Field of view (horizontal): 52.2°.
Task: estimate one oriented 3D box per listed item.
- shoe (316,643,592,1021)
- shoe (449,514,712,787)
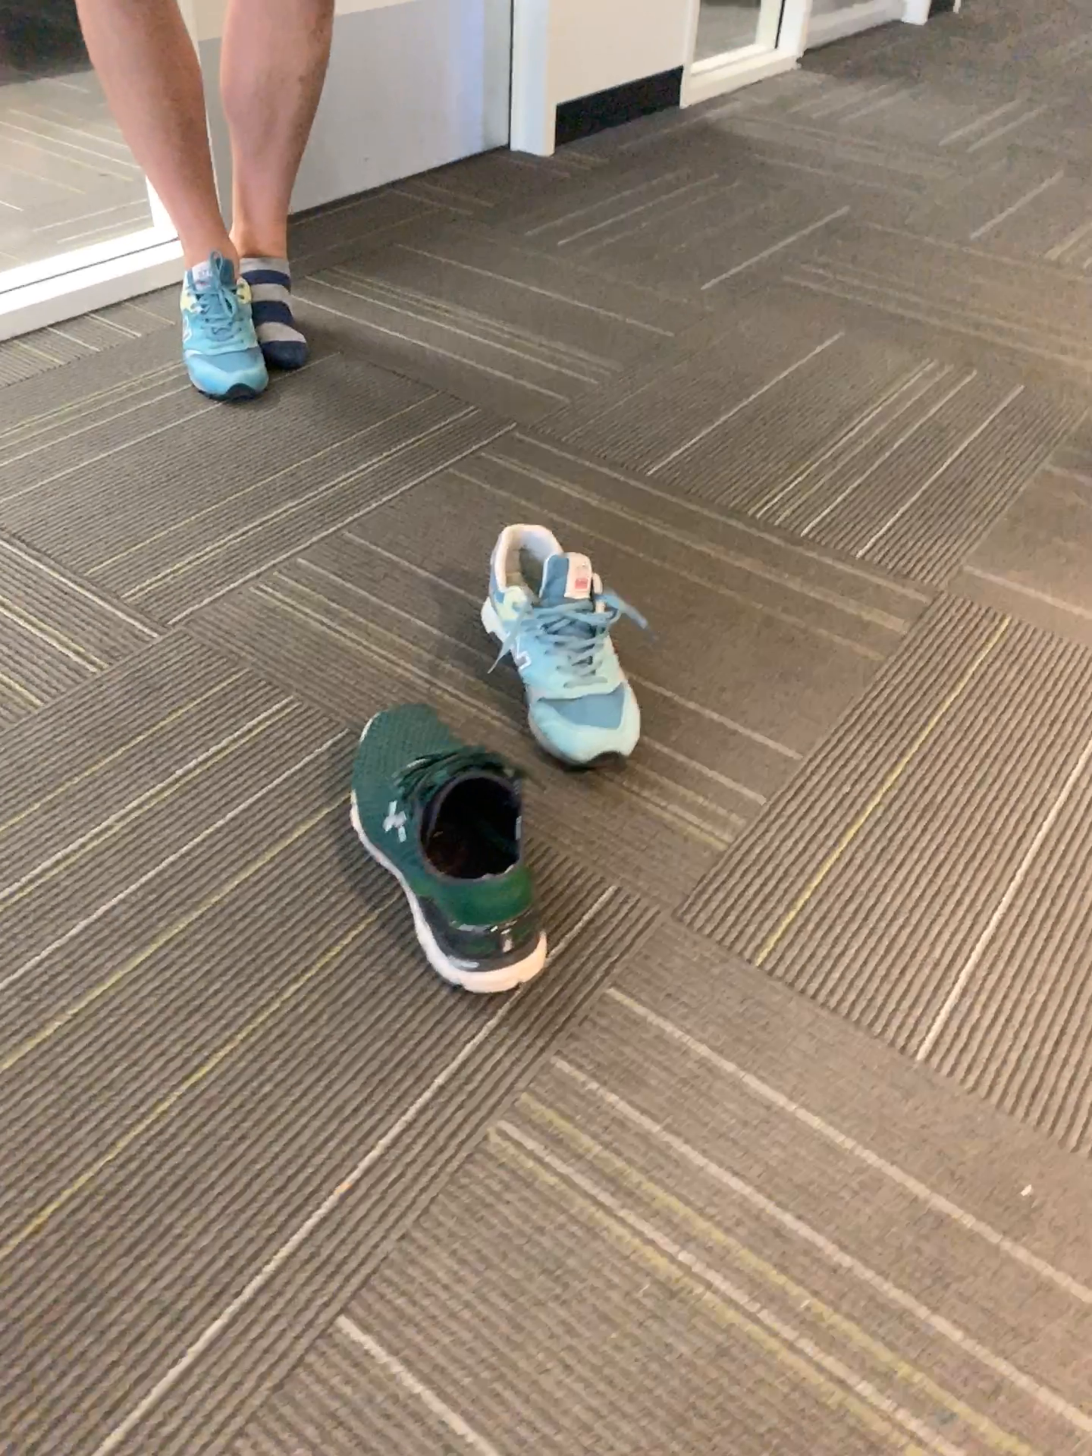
[{"bbox_3d":[-0.088,0.070,0.940,0.140,0.089,0.322,-11,44,-16],"label":"shoe"},{"bbox_3d":[0.021,-0.086,1.076,0.170,0.089,0.282,-9,43,-14],"label":"shoe"}]
